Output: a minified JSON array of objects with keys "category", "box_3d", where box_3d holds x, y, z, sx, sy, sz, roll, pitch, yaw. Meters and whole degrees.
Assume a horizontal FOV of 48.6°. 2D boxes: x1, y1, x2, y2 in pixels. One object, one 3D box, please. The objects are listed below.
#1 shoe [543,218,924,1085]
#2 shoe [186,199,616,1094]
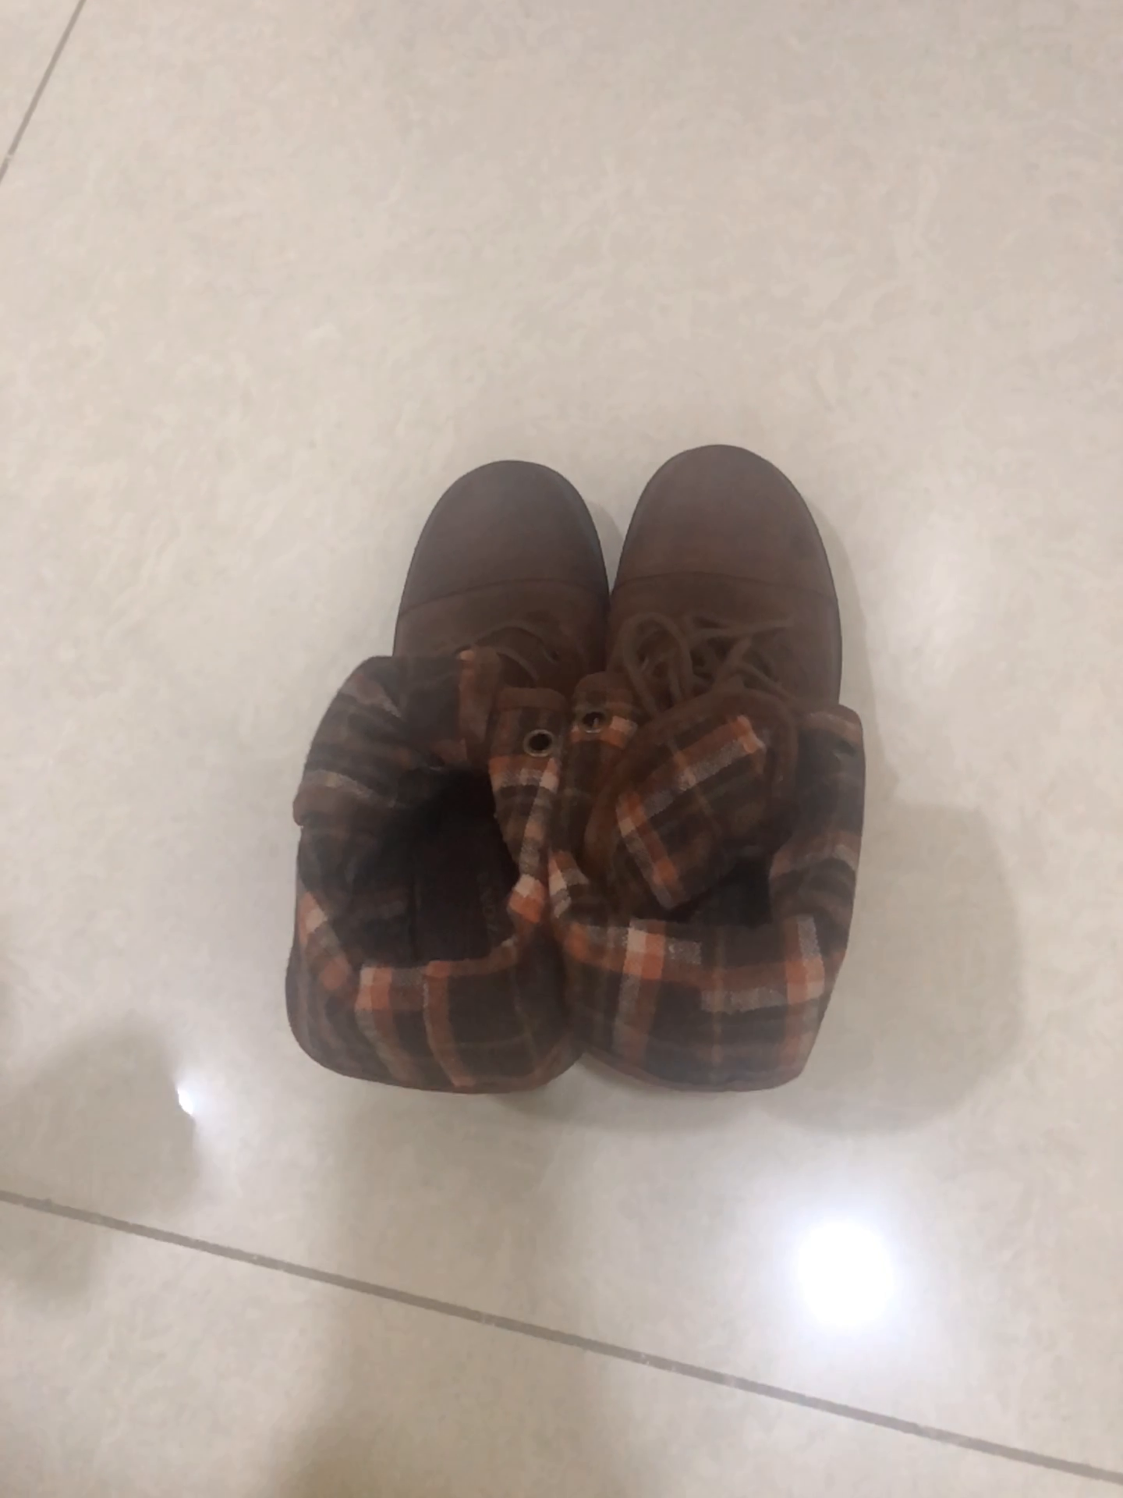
[{"category":"shoe","box_3d":[0.055,-0.028,0.442,0.100,0.140,0.270,0,70,5]},{"category":"shoe","box_3d":[-0.046,-0.029,0.453,0.110,0.150,0.280,-4,69,4]}]
